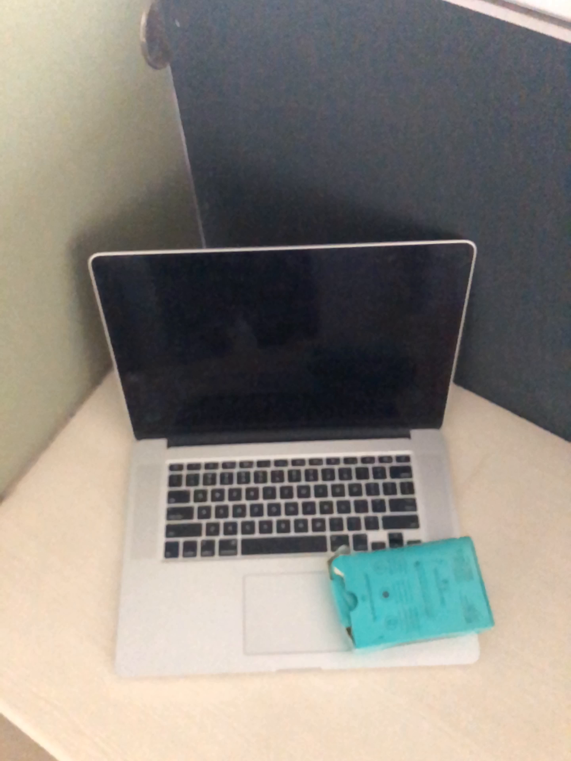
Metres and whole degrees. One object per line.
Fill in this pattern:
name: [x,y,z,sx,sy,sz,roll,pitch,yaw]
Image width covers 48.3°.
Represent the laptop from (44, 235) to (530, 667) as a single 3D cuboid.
laptop: [-0.002,0.072,0.591,0.328,0.200,0.339,-2,64,1]
